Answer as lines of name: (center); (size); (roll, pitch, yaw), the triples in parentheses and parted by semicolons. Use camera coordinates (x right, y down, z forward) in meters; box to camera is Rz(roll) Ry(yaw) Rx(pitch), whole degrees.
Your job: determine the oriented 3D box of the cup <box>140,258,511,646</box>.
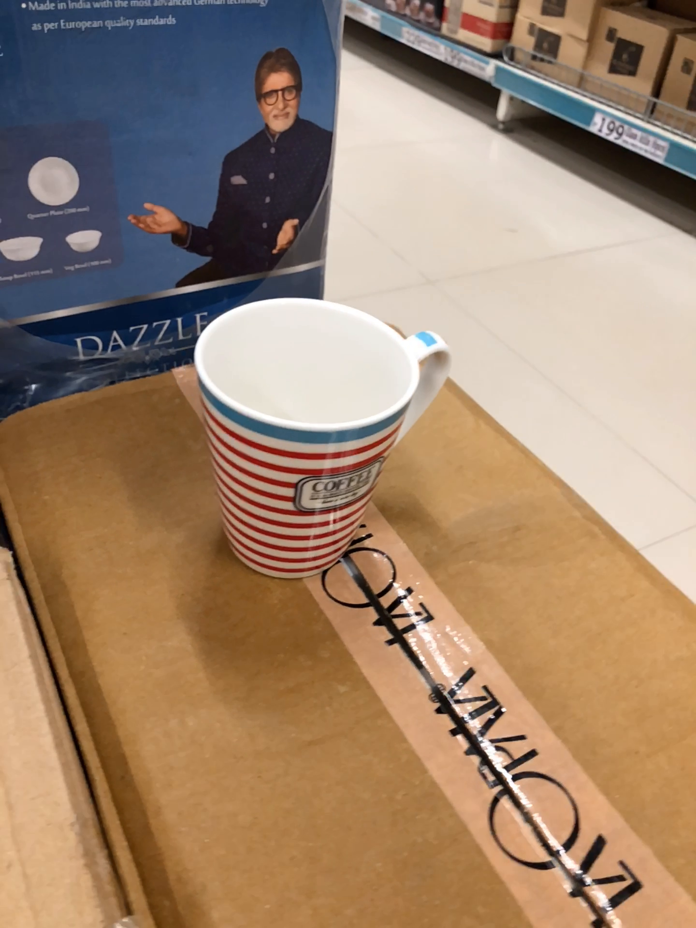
cup: (-0.011, -0.011, 0.327); (0.111, 0.099, 0.090); (-27, 49, -33)
